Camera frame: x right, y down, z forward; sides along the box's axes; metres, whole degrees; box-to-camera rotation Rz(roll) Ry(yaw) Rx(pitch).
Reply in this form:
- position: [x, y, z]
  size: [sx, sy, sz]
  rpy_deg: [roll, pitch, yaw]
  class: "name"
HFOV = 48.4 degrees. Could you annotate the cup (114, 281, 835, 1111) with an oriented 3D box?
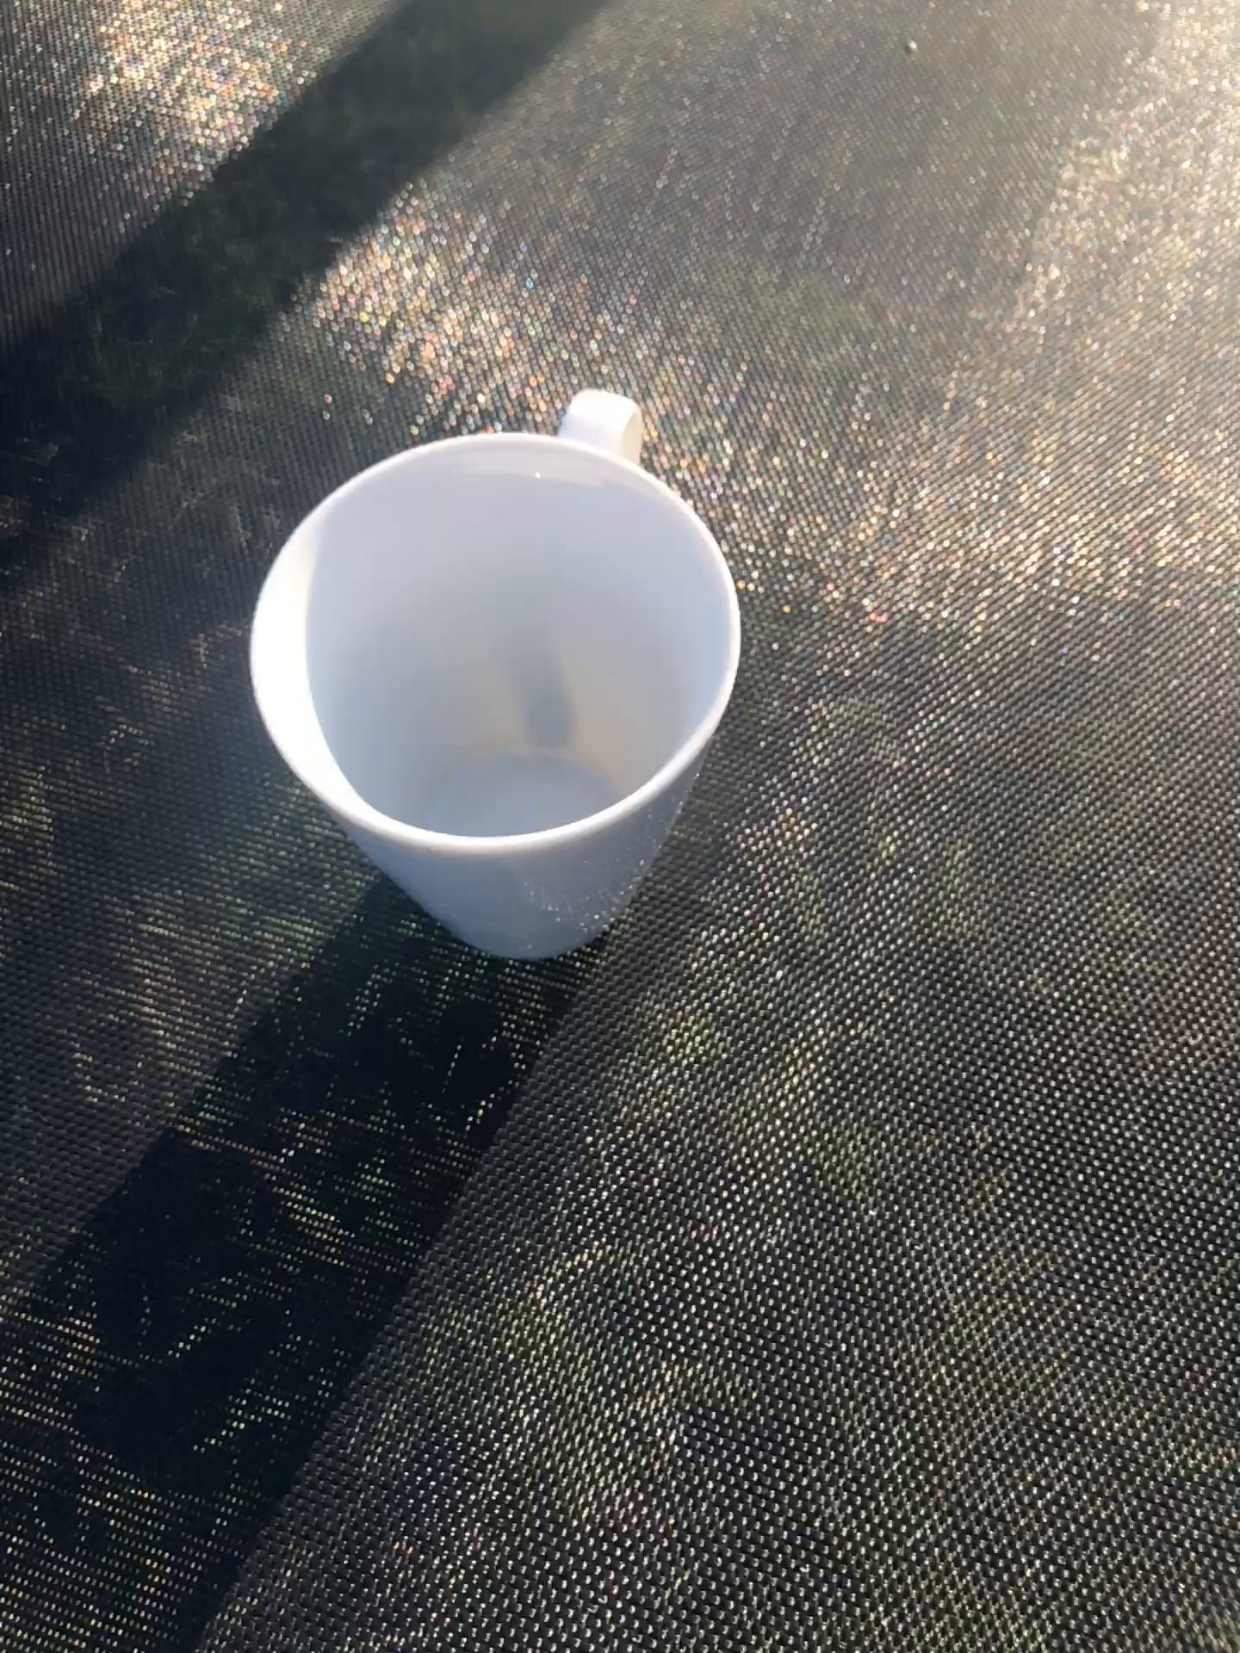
- position: [-0.020, -0.025, 0.294]
  size: [0.097, 0.094, 0.130]
  rpy_deg: [13, 66, 7]
  class: "cup"
